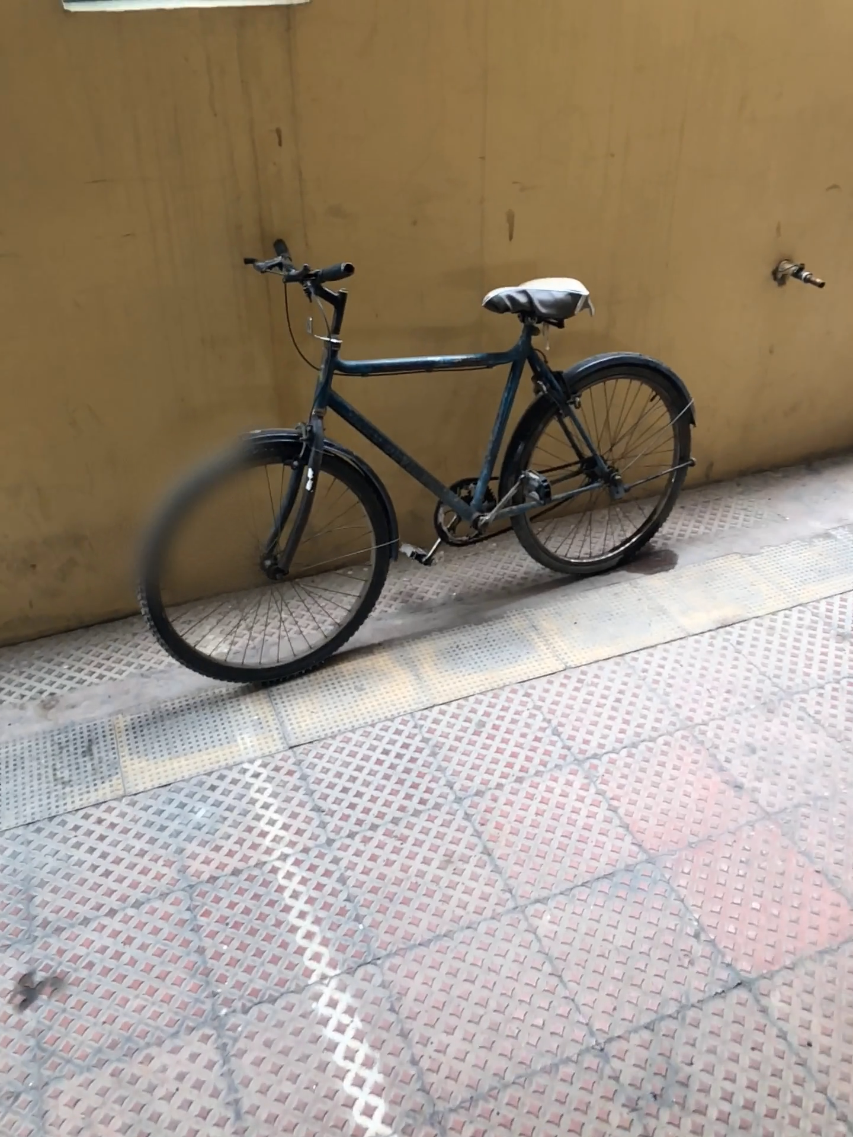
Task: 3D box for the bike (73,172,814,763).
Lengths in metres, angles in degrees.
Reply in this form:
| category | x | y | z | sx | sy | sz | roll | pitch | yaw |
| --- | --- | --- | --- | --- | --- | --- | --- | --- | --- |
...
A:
| category | x | y | z | sx | sy | sz | roll | pitch | yaw |
| --- | --- | --- | --- | --- | --- | --- | --- | --- | --- |
| bike | 0.089 | -0.327 | 2.213 | 1.547 | 0.998 | 0.544 | -14 | 36 | -24 |
